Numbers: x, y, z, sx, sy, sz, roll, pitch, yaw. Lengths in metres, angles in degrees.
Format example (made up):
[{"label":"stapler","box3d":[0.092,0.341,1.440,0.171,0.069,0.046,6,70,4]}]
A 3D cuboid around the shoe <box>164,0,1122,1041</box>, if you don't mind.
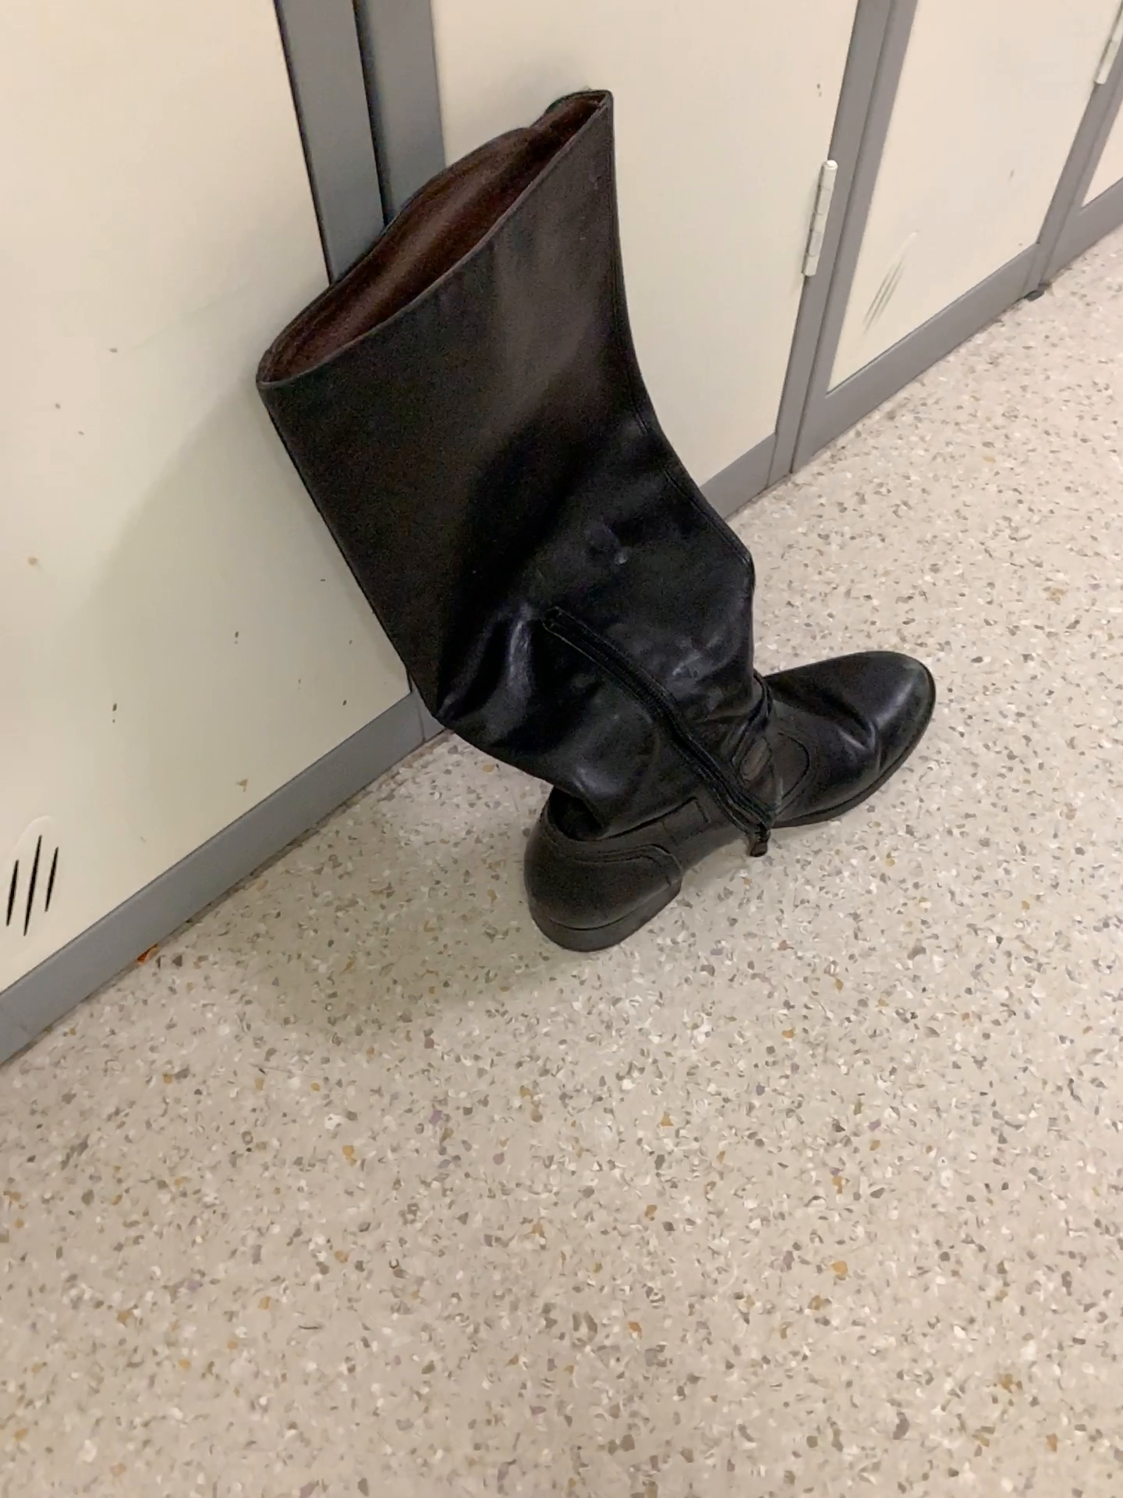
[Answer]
[{"label":"shoe","box3d":[0.060,-0.089,0.494,0.314,0.331,0.168,-31,59,-18]}]
